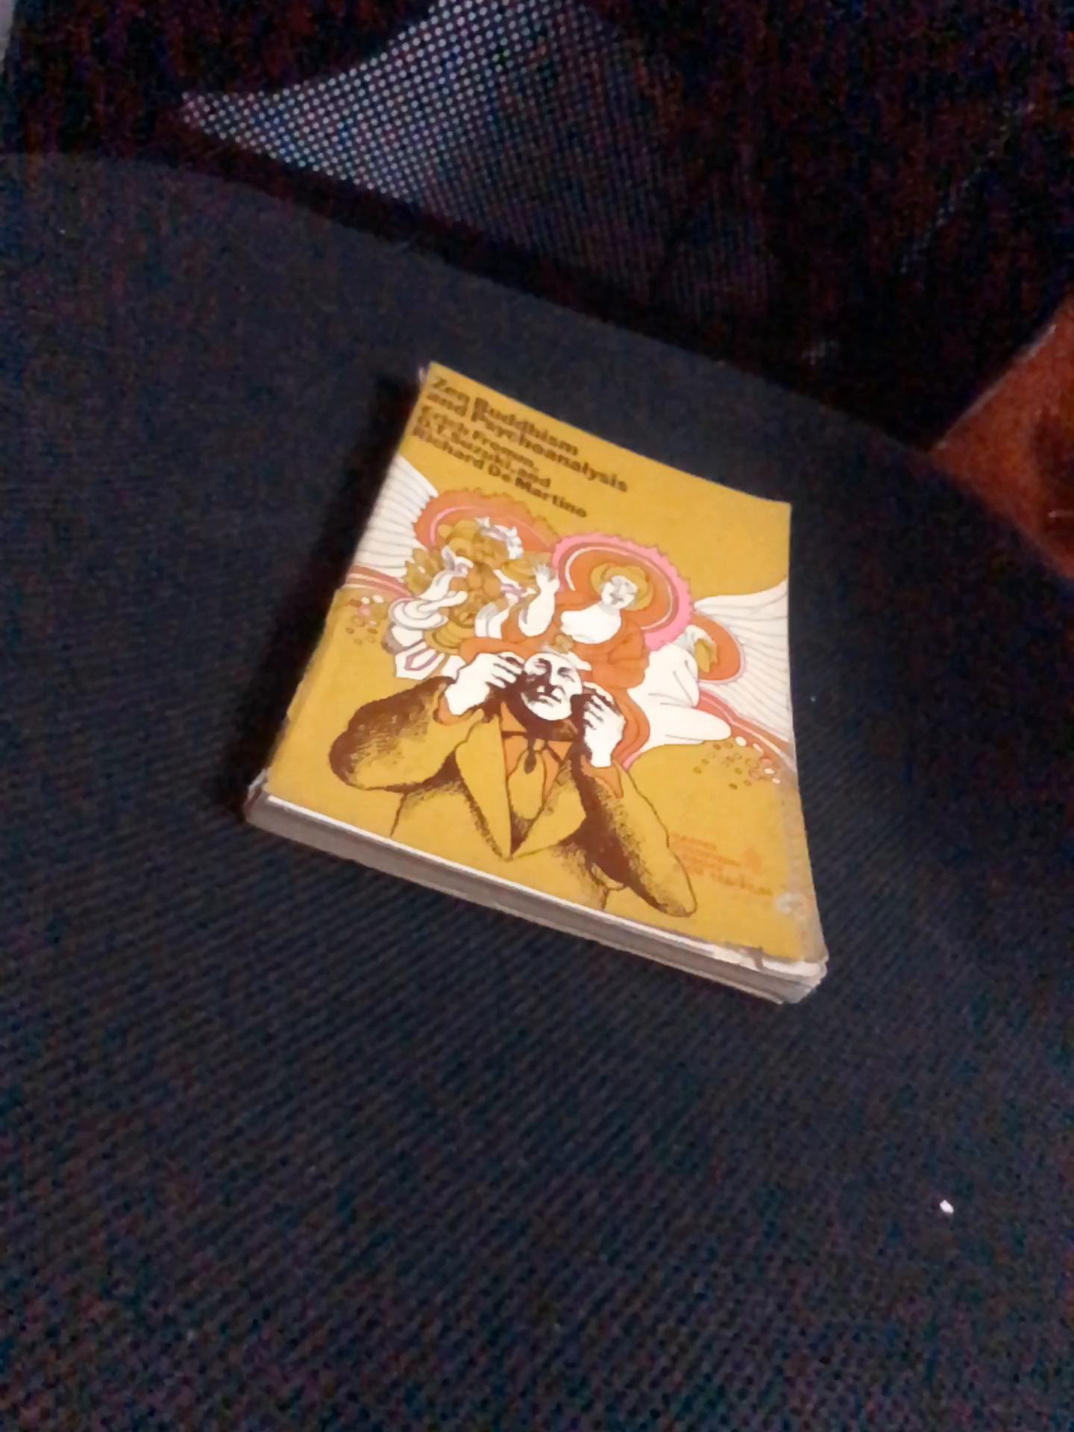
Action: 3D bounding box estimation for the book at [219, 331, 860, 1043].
[{"bbox_3d":[0.010,-0.023,0.321,0.137,0.020,0.201,19,42,-12],"label":"book"}]
